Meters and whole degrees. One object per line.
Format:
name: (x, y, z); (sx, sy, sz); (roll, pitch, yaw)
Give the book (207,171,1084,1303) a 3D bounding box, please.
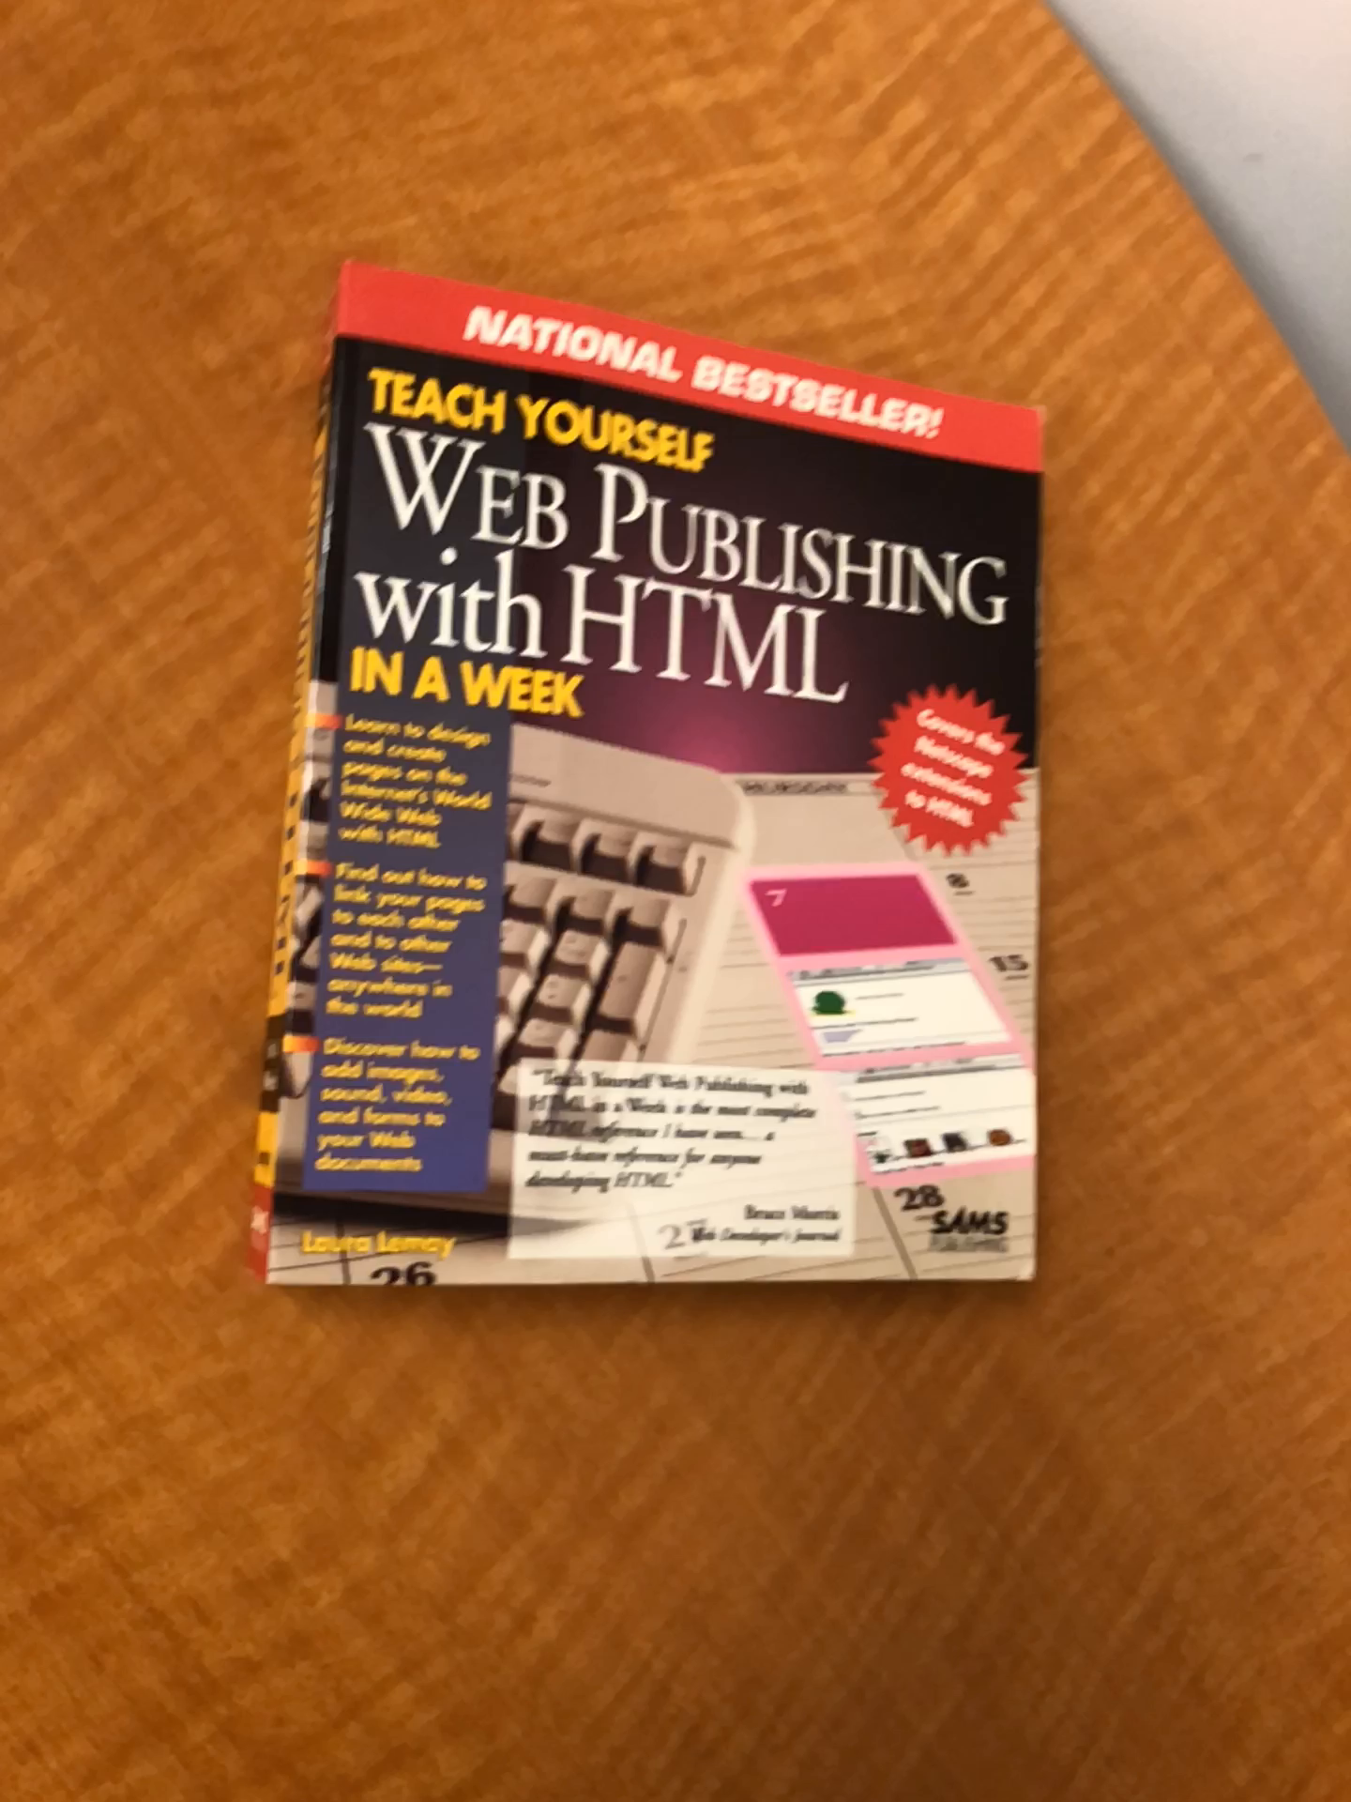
book: (0.003, -0.030, 0.380); (0.210, 0.040, 0.250); (5, 82, -21)
